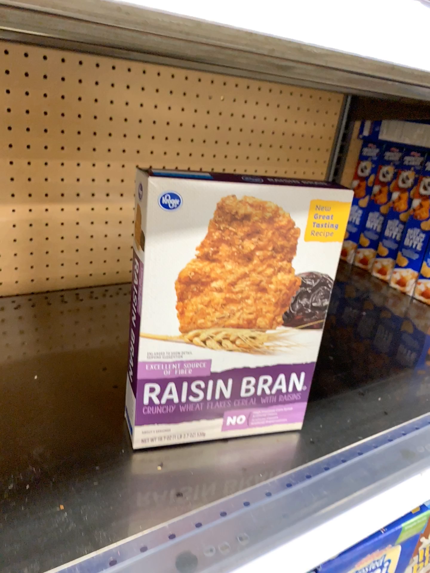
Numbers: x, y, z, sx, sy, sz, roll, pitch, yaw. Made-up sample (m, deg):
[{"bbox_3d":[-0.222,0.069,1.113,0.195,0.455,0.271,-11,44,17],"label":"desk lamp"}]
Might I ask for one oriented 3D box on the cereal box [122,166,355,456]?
[{"bbox_3d":[0.014,0.029,0.440,0.190,0.269,0.050,-1,22,-19],"label":"cereal box"}]
